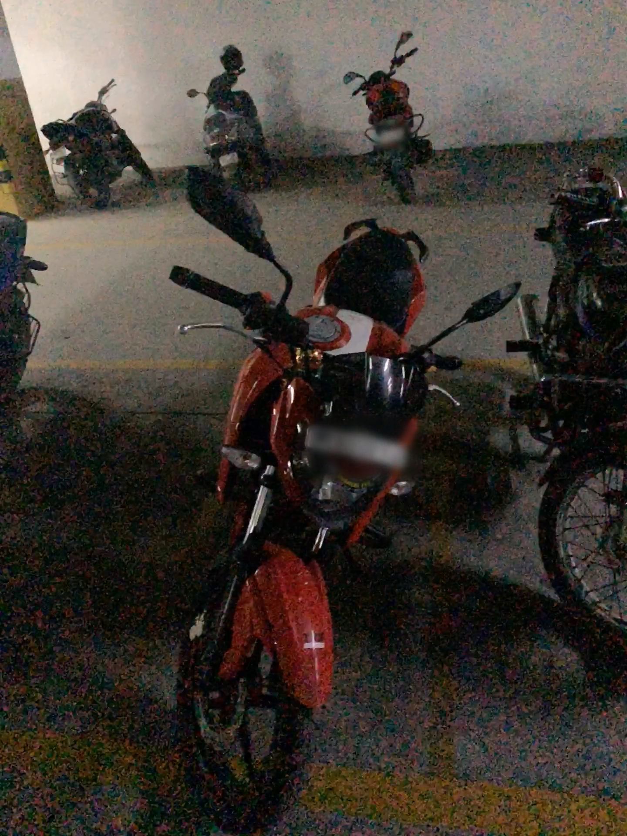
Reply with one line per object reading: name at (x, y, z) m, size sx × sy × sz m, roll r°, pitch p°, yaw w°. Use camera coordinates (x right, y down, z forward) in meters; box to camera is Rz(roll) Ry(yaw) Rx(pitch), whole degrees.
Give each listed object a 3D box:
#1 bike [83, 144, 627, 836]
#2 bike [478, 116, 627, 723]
bike at (0.189, 0.040, 1.744) m, size 0.801 × 1.006 × 1.702 m, roll -1°, pitch 35°, yaw 7°
bike at (0.945, -0.193, 1.842) m, size 0.673 × 0.933 × 1.574 m, roll -1°, pitch 34°, yaw 7°
